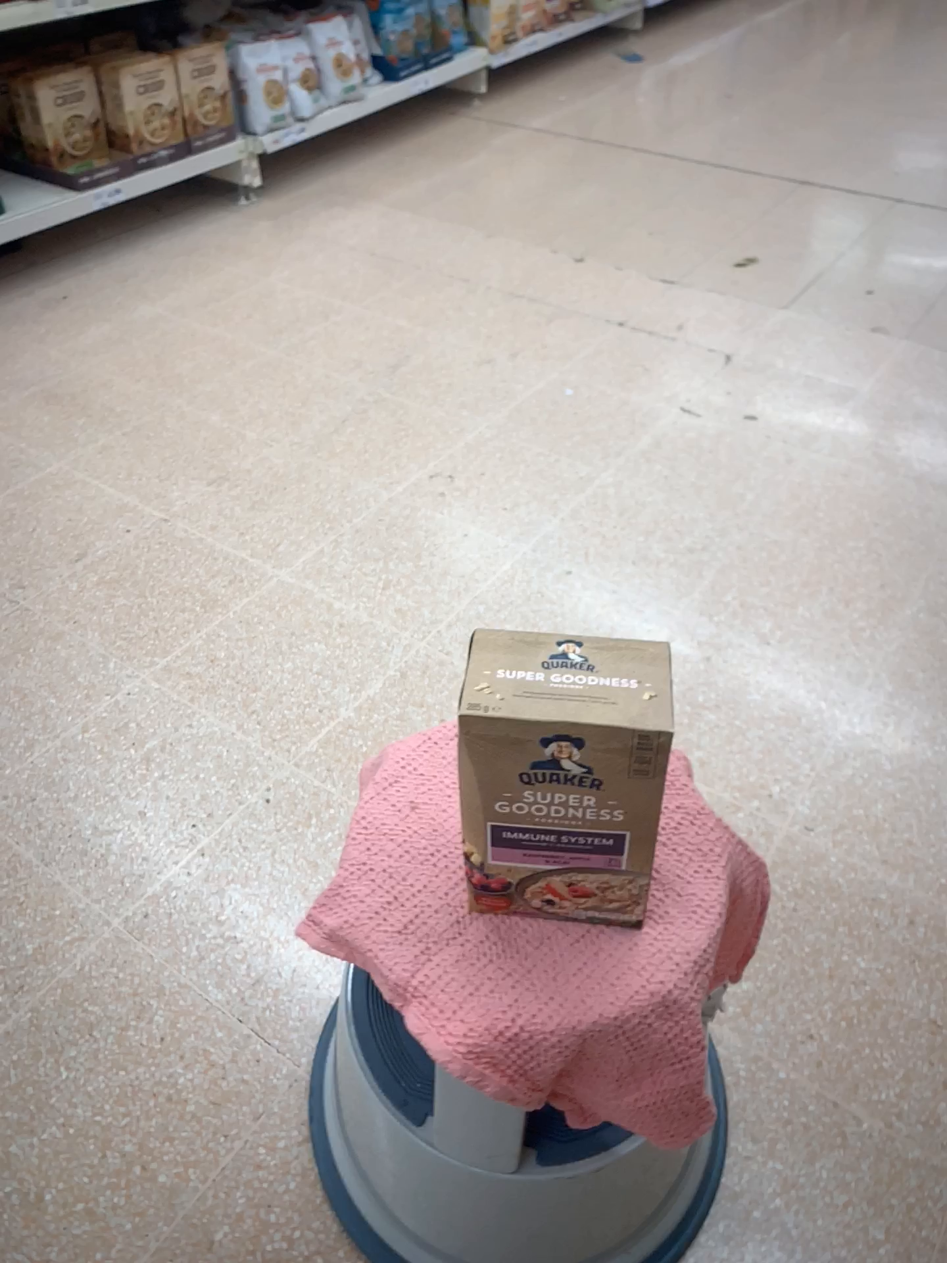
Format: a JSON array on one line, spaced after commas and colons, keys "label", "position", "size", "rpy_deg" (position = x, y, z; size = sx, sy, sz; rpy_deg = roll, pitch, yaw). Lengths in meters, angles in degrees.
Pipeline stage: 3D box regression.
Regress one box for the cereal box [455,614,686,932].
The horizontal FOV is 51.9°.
[{"label": "cereal box", "position": [0.060, 0.100, 0.653], "size": [0.130, 0.208, 0.091], "rpy_deg": [3, 43, 5]}]
